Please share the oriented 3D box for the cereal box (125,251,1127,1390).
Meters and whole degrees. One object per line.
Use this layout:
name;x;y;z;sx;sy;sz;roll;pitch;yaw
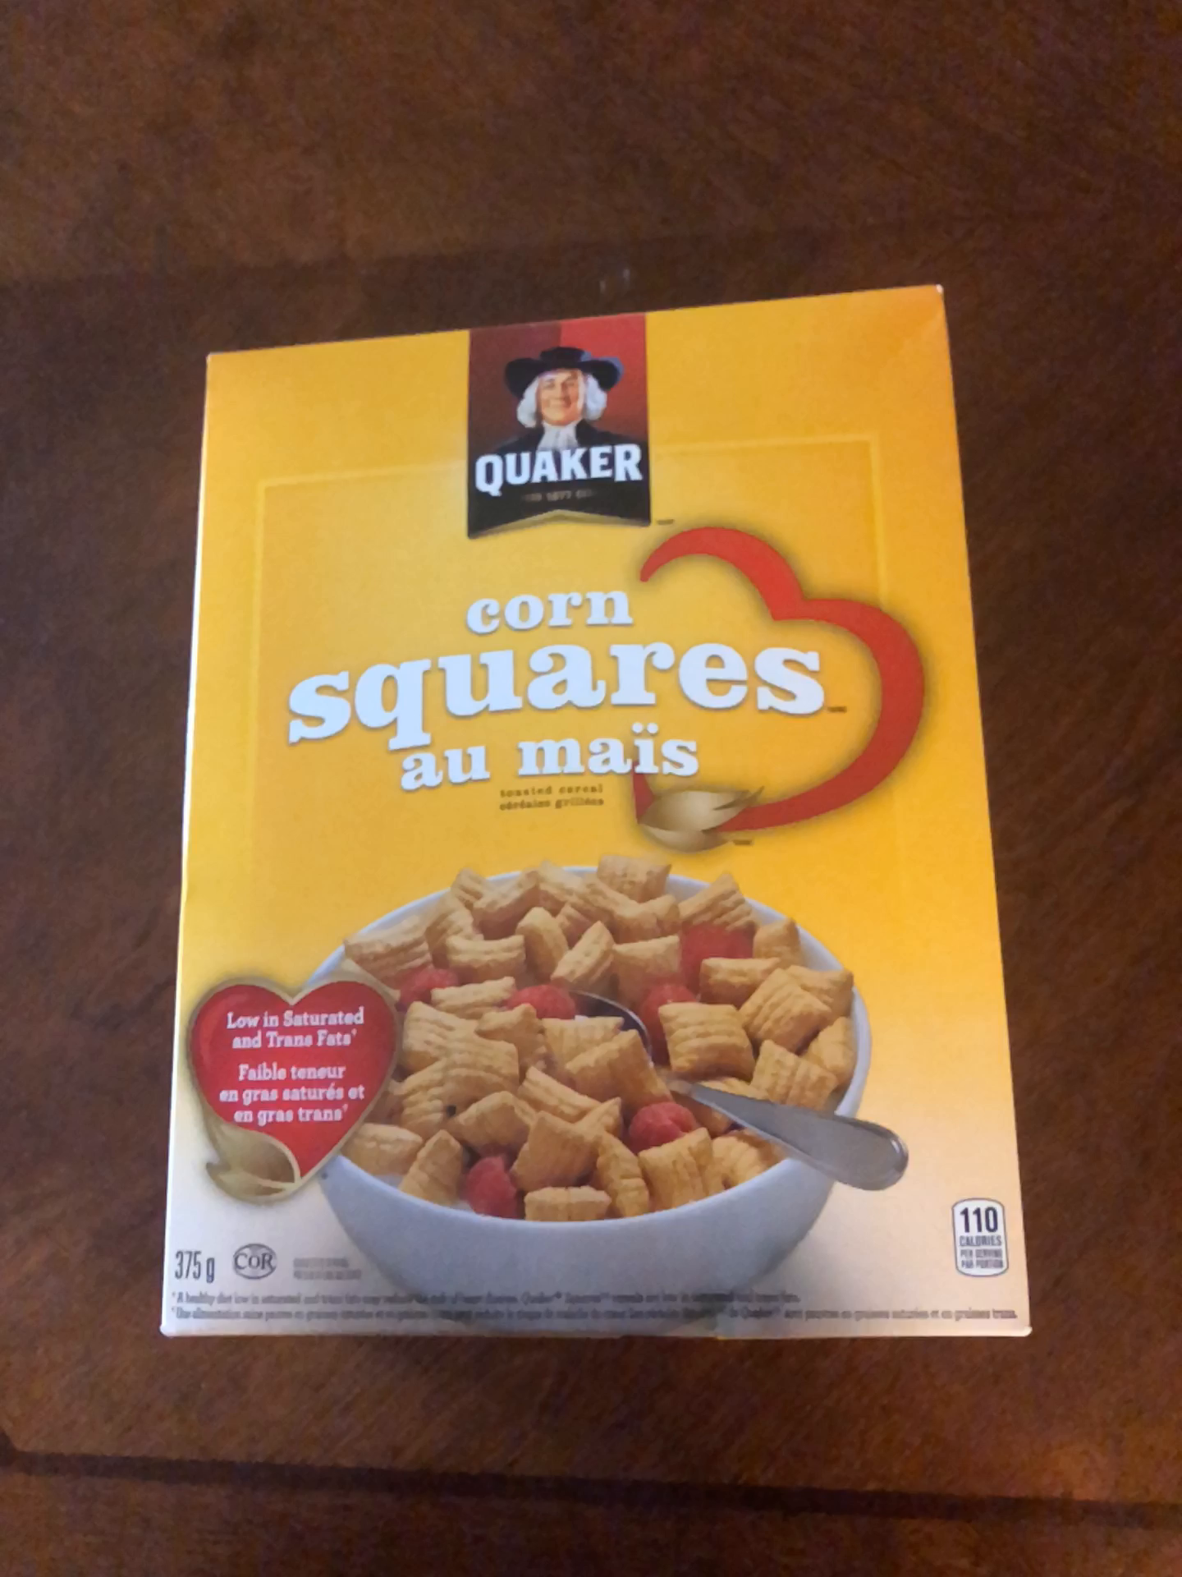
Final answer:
cereal box;0.003;0.005;0.341;0.220;0.050;0.270;-2;78;5
